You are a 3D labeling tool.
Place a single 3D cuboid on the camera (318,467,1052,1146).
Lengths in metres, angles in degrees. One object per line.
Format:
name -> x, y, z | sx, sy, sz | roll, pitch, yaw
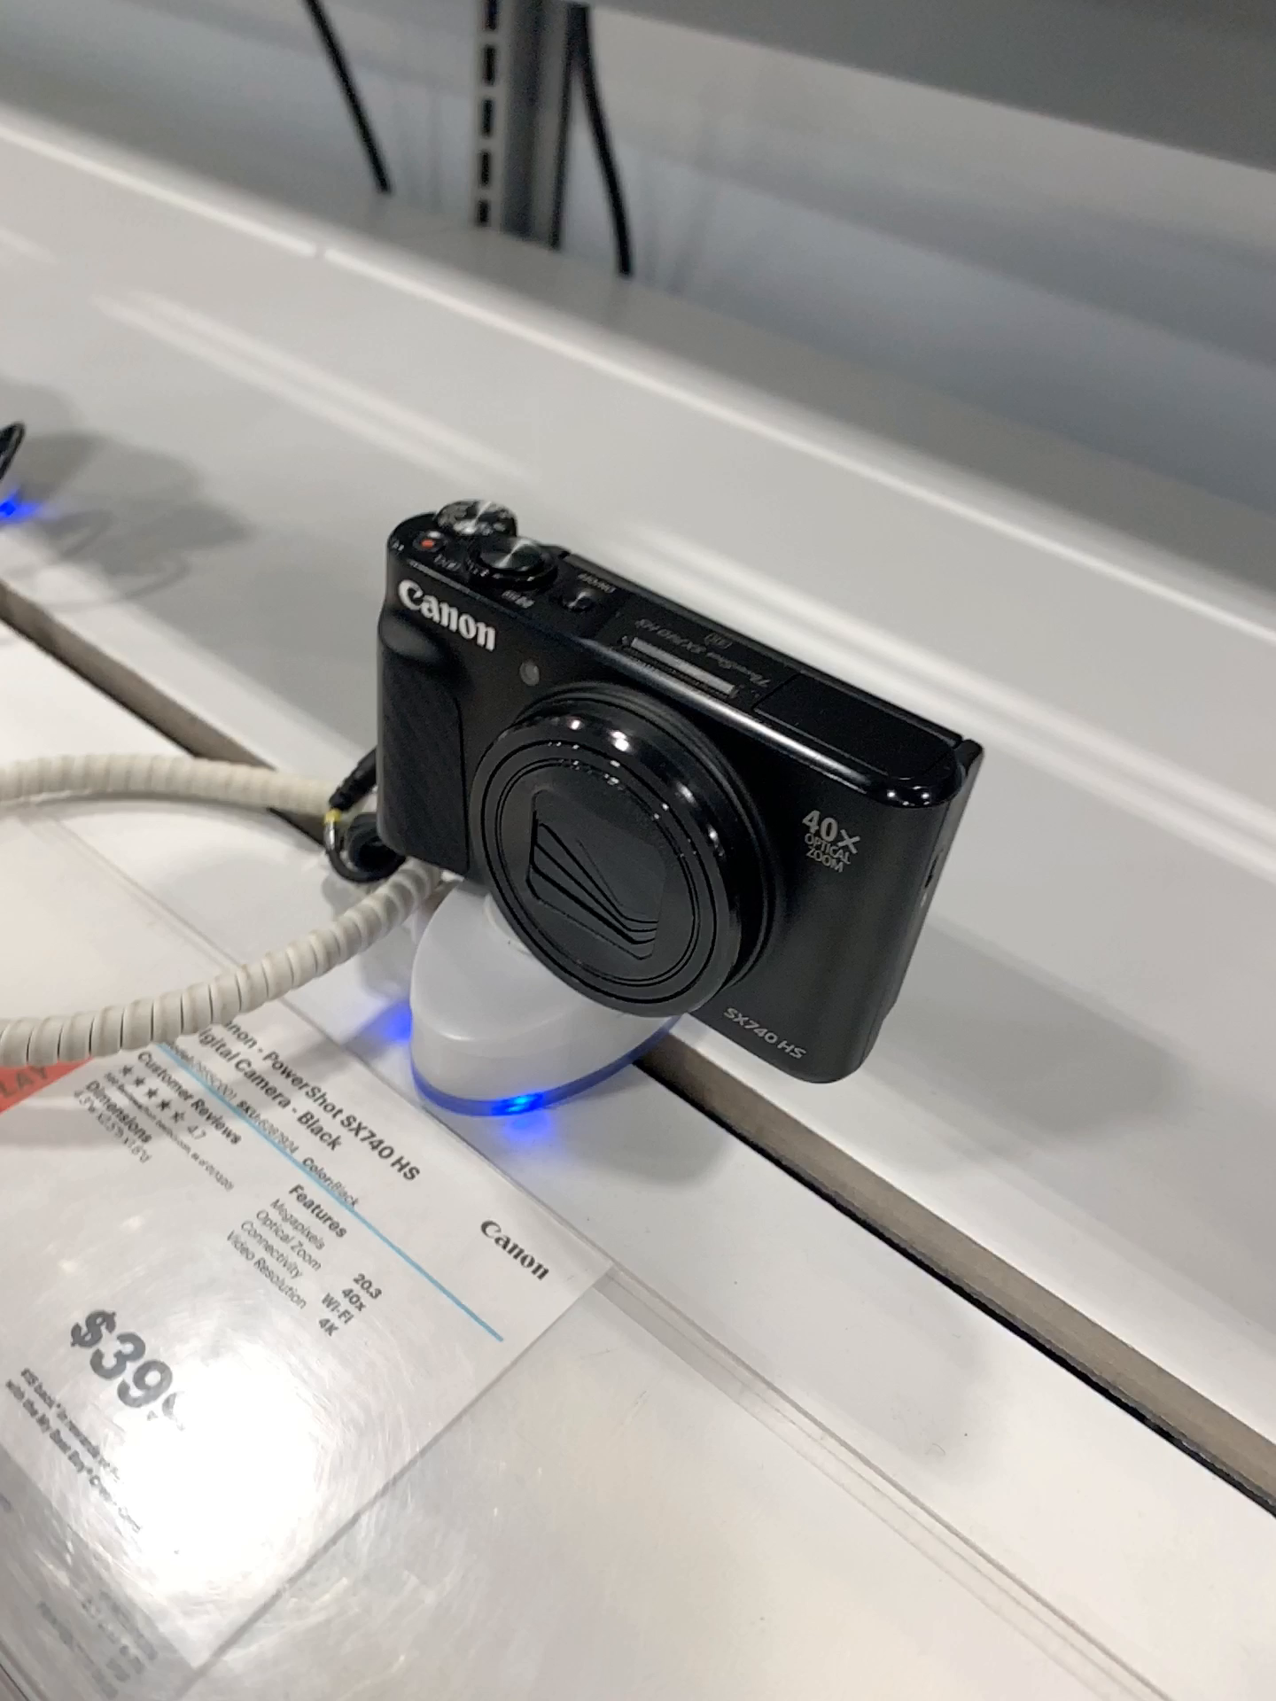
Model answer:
camera -> 0.001, -0.013, 0.238 | 0.120, 0.063, 0.042 | 30, 42, 24
